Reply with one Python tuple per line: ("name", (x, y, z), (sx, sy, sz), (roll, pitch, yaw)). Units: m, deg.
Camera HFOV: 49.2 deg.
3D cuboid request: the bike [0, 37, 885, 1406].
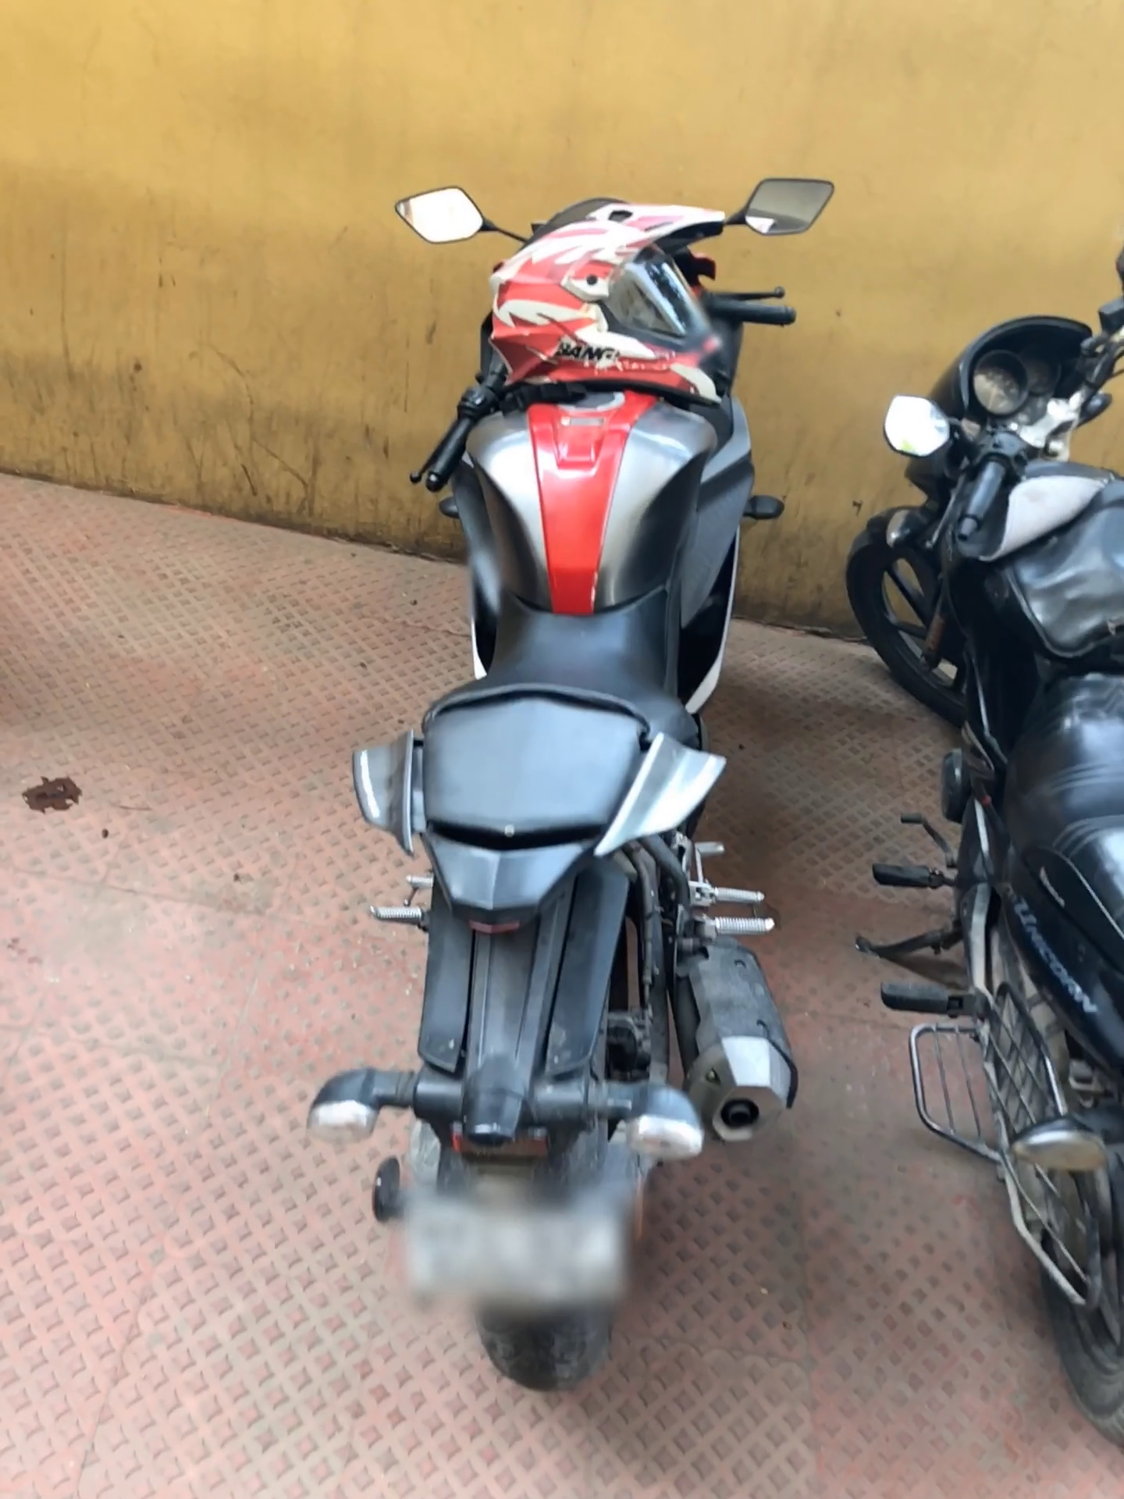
("bike", (-0.219, -0.216, 1.822), (0.725, 0.871, 1.752), (6, 44, -8))
